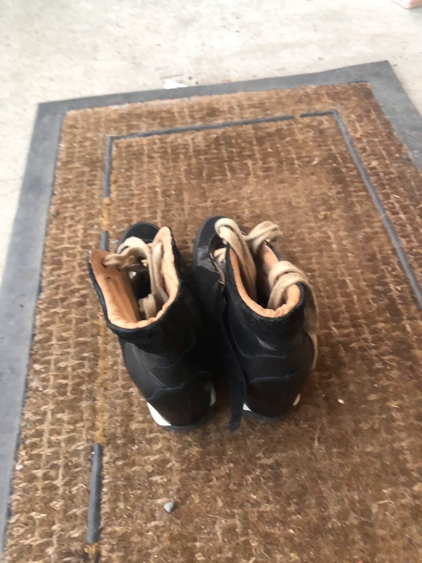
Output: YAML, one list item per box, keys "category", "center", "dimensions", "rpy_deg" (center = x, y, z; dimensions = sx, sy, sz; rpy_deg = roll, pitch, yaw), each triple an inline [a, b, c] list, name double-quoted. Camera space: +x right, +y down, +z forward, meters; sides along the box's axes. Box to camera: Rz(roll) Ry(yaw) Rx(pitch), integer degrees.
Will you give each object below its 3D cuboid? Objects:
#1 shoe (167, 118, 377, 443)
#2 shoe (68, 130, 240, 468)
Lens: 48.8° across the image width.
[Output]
- category: "shoe"
  center: [0.036, -0.005, 0.418]
  dimensions: [0.090, 0.159, 0.231]
  rpy_deg: [-13, 53, -6]
- category: "shoe"
  center: [-0.052, 0.010, 0.414]
  dimensions: [0.090, 0.159, 0.241]
  rpy_deg: [-13, 53, -6]
